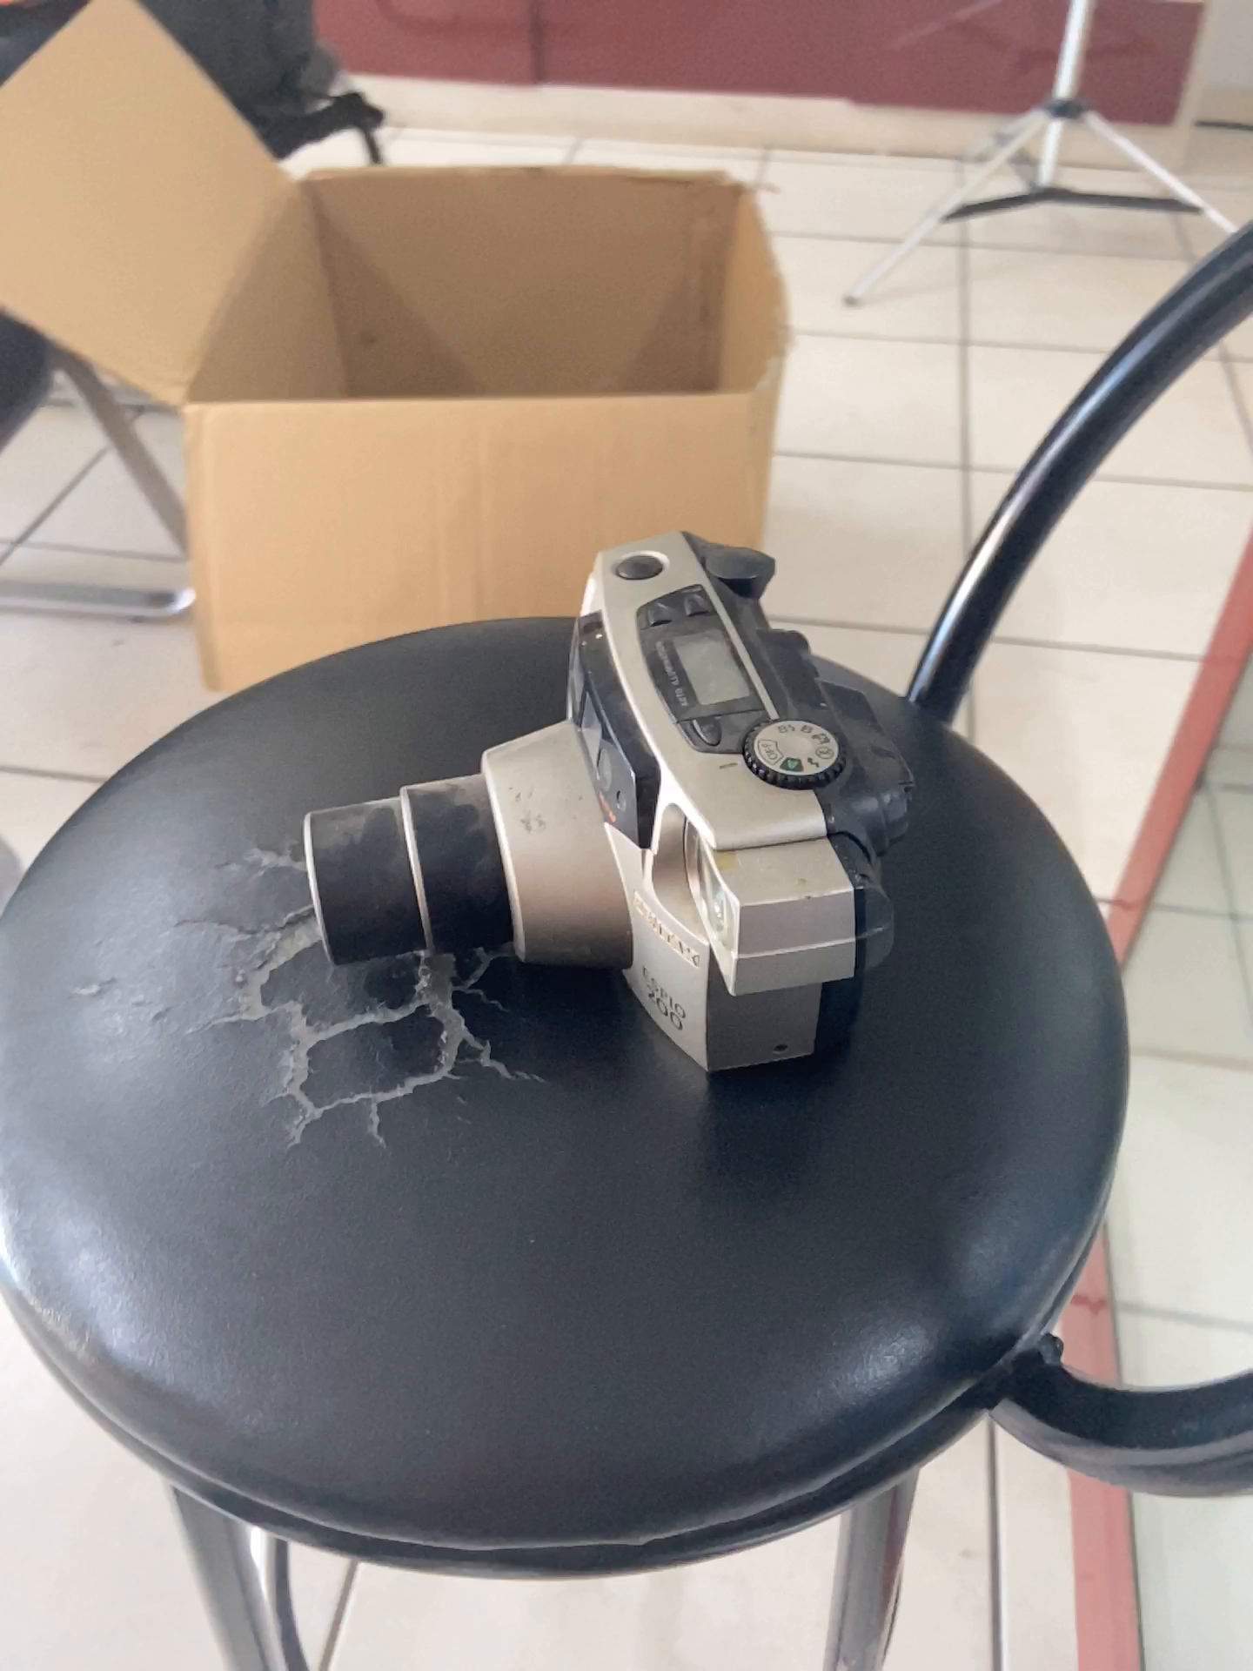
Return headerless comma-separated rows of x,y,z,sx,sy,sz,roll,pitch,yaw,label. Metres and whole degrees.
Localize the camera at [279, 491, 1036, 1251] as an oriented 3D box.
-0.003,-0.001,0.292,0.120,0.080,0.131,-12,45,-12,camera
